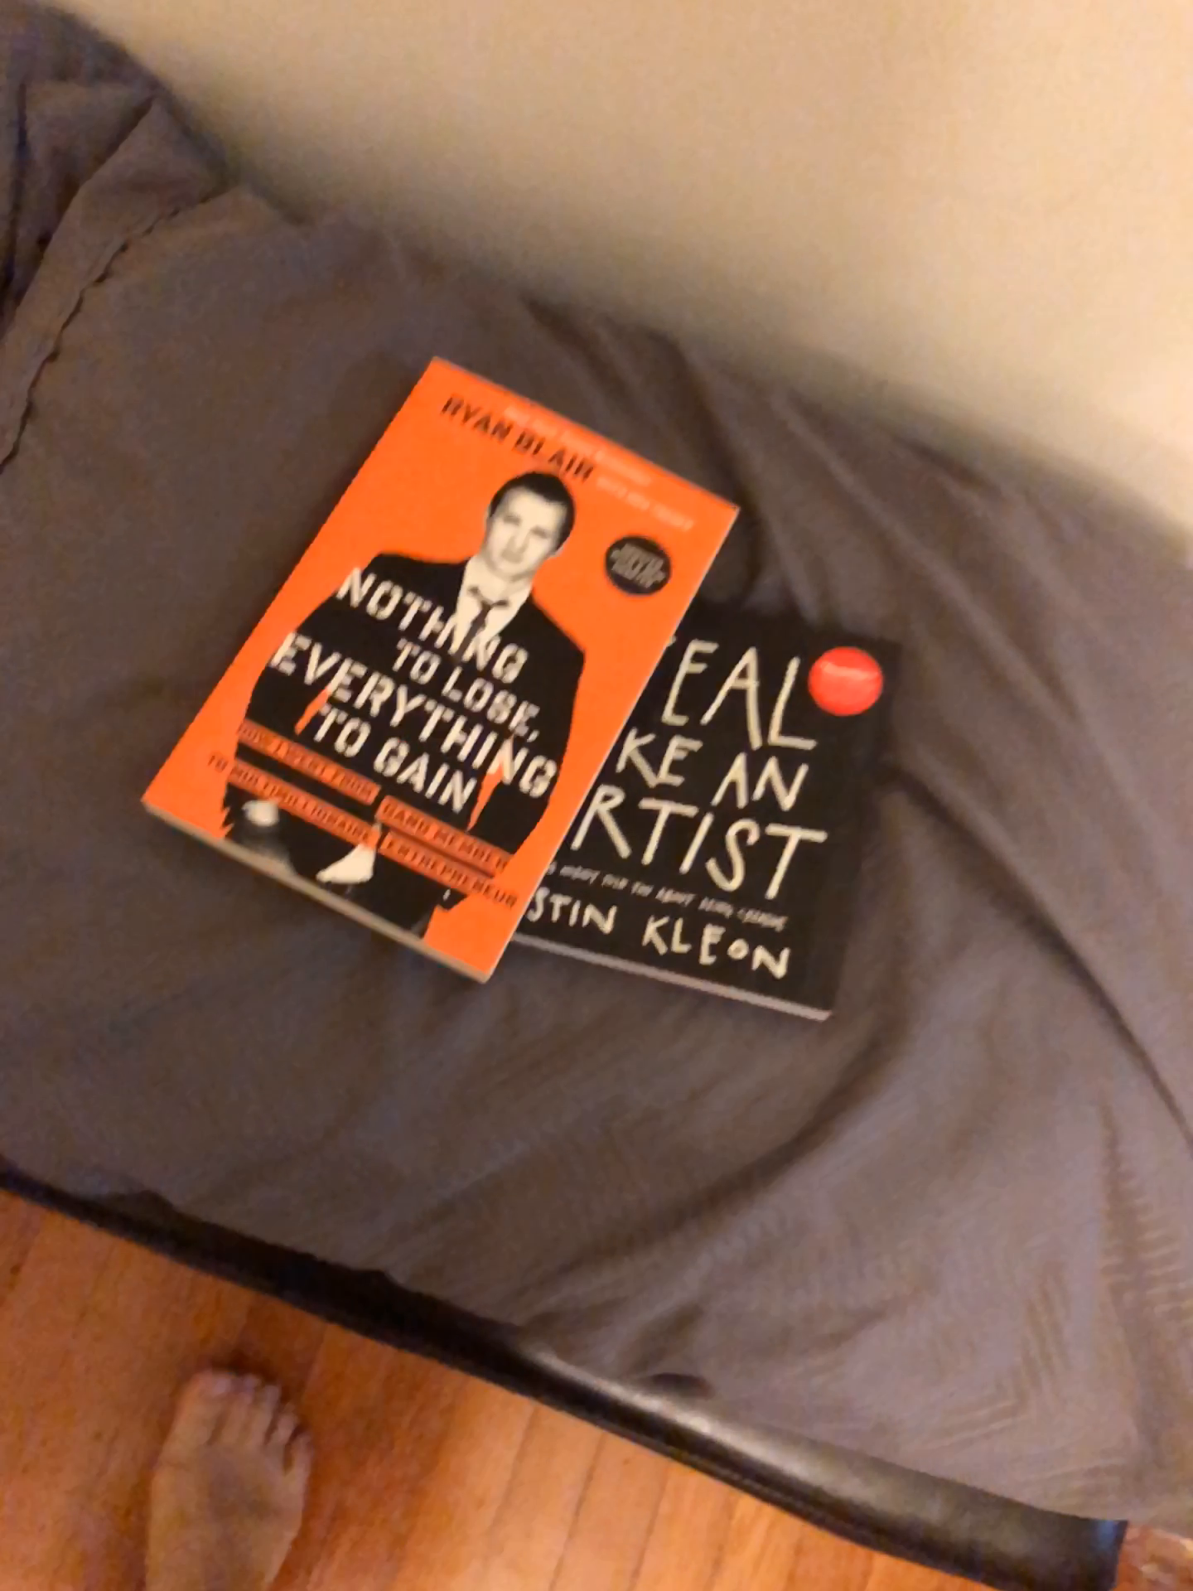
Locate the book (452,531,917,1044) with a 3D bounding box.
[{"bbox_3d":[0.038,-0.006,0.507,0.150,0.020,0.170,14,71,-4],"label":"book"}]

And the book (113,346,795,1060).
[{"bbox_3d":[-0.046,-0.042,0.504,0.170,0.020,0.230,26,73,0],"label":"book"}]
